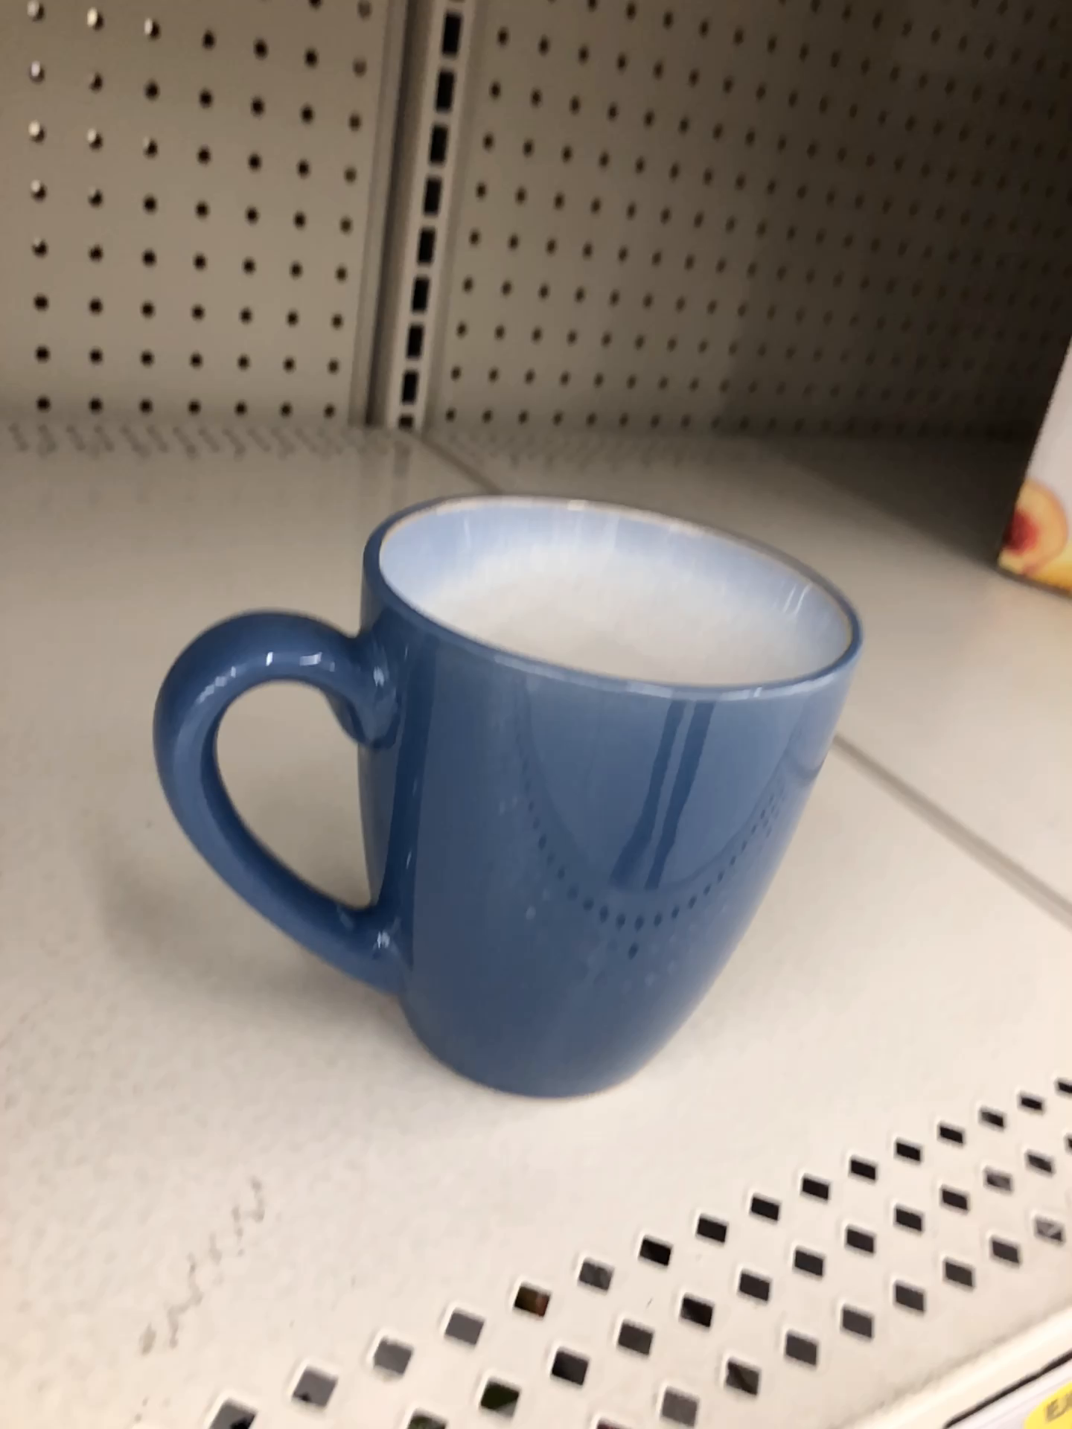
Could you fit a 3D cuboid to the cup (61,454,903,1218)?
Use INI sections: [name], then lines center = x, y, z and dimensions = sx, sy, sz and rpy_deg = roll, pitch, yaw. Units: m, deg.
[cup]
center = -0.020, 0.011, 0.242
dimensions = 0.128, 0.098, 0.097
rpy_deg = -5, 31, -28
